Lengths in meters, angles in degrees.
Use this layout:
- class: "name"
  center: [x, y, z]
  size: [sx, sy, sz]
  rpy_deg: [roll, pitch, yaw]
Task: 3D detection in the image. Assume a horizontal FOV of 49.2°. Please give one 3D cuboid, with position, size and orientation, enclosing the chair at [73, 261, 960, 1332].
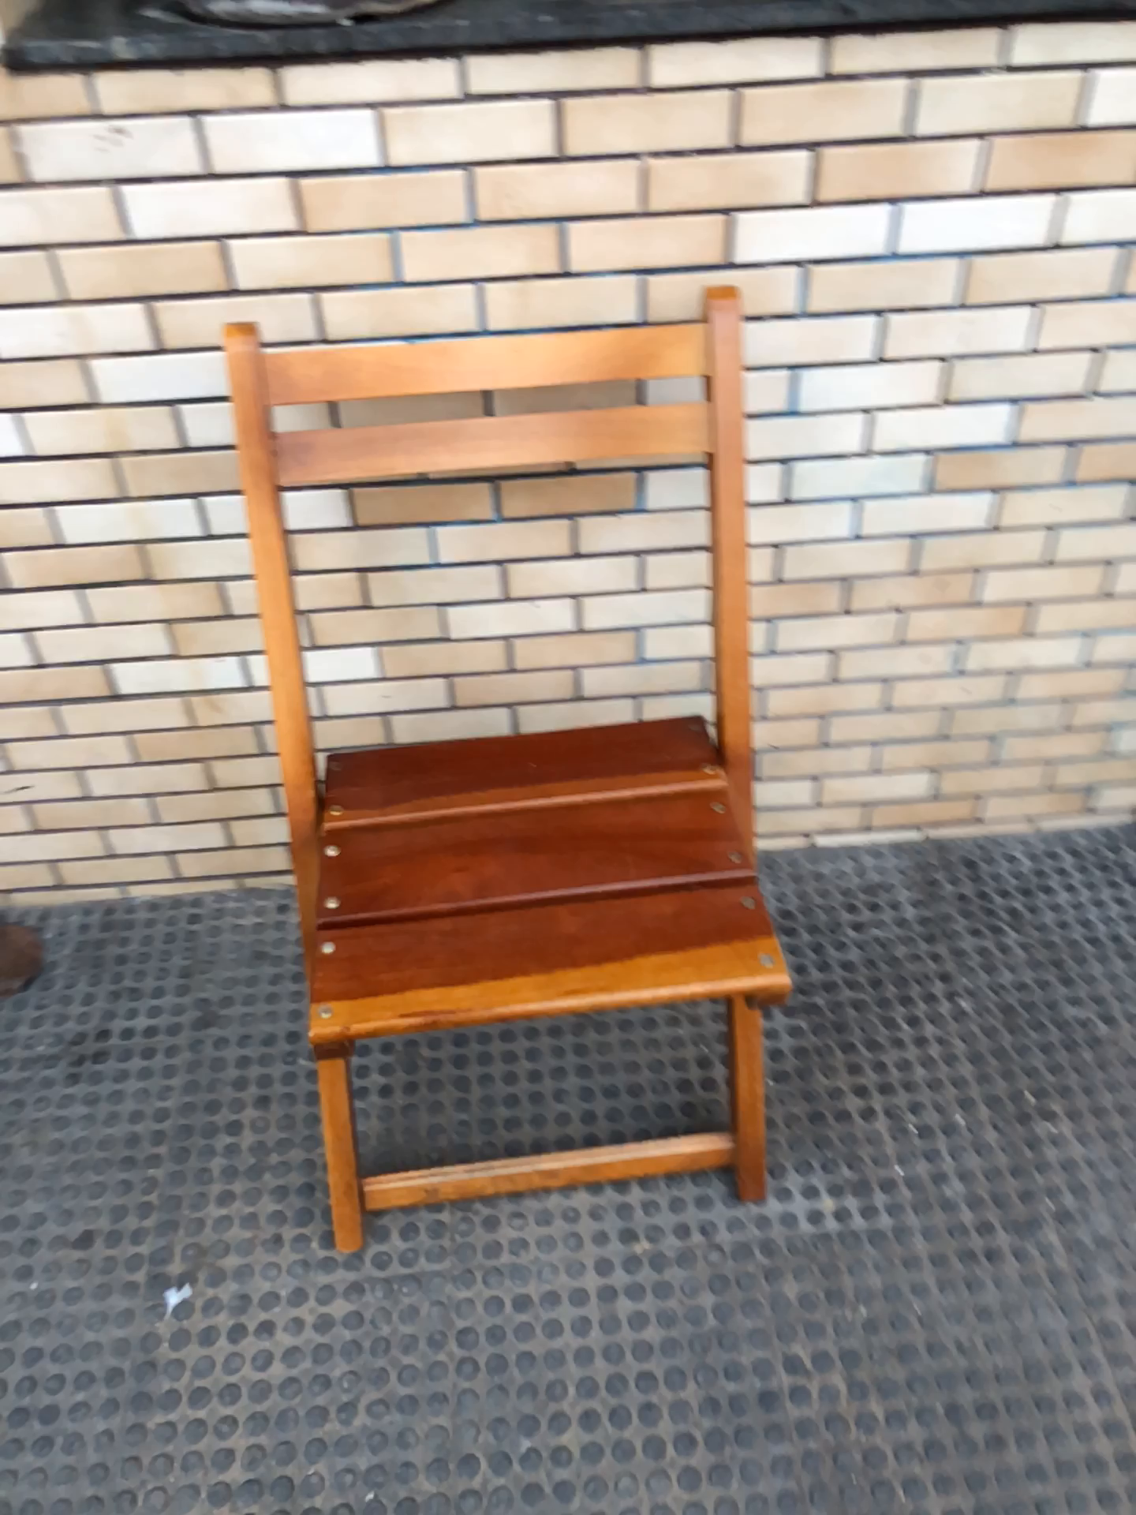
- class: "chair"
  center: [-0.050, 0.054, 1.089]
  size: [0.470, 0.764, 0.494]
  rpy_deg: [-6, 42, -6]
